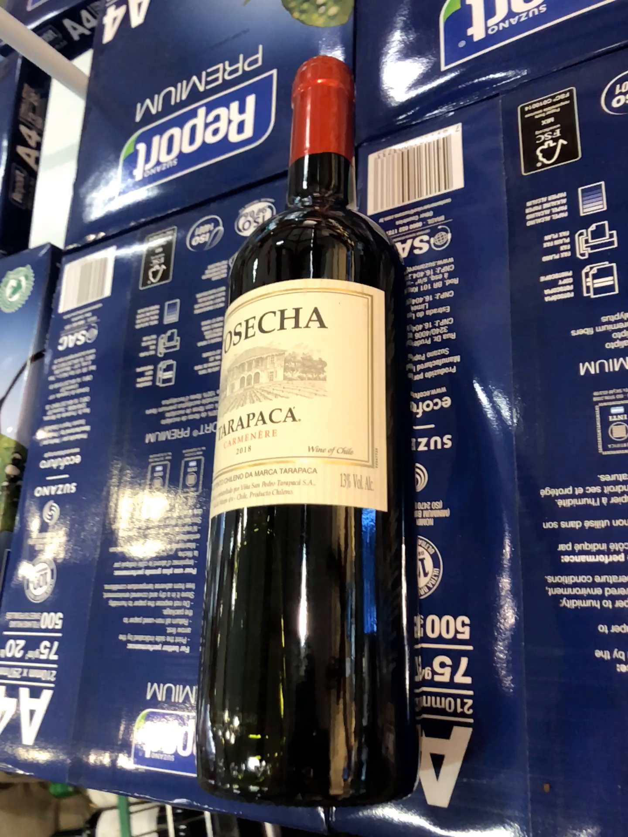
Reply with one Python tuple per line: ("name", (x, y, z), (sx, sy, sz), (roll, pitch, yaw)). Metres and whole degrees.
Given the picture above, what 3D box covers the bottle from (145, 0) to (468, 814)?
("bottle", (0.000, -0.041, 0.274), (0.080, 0.060, 0.331), (-12, 66, 29))
